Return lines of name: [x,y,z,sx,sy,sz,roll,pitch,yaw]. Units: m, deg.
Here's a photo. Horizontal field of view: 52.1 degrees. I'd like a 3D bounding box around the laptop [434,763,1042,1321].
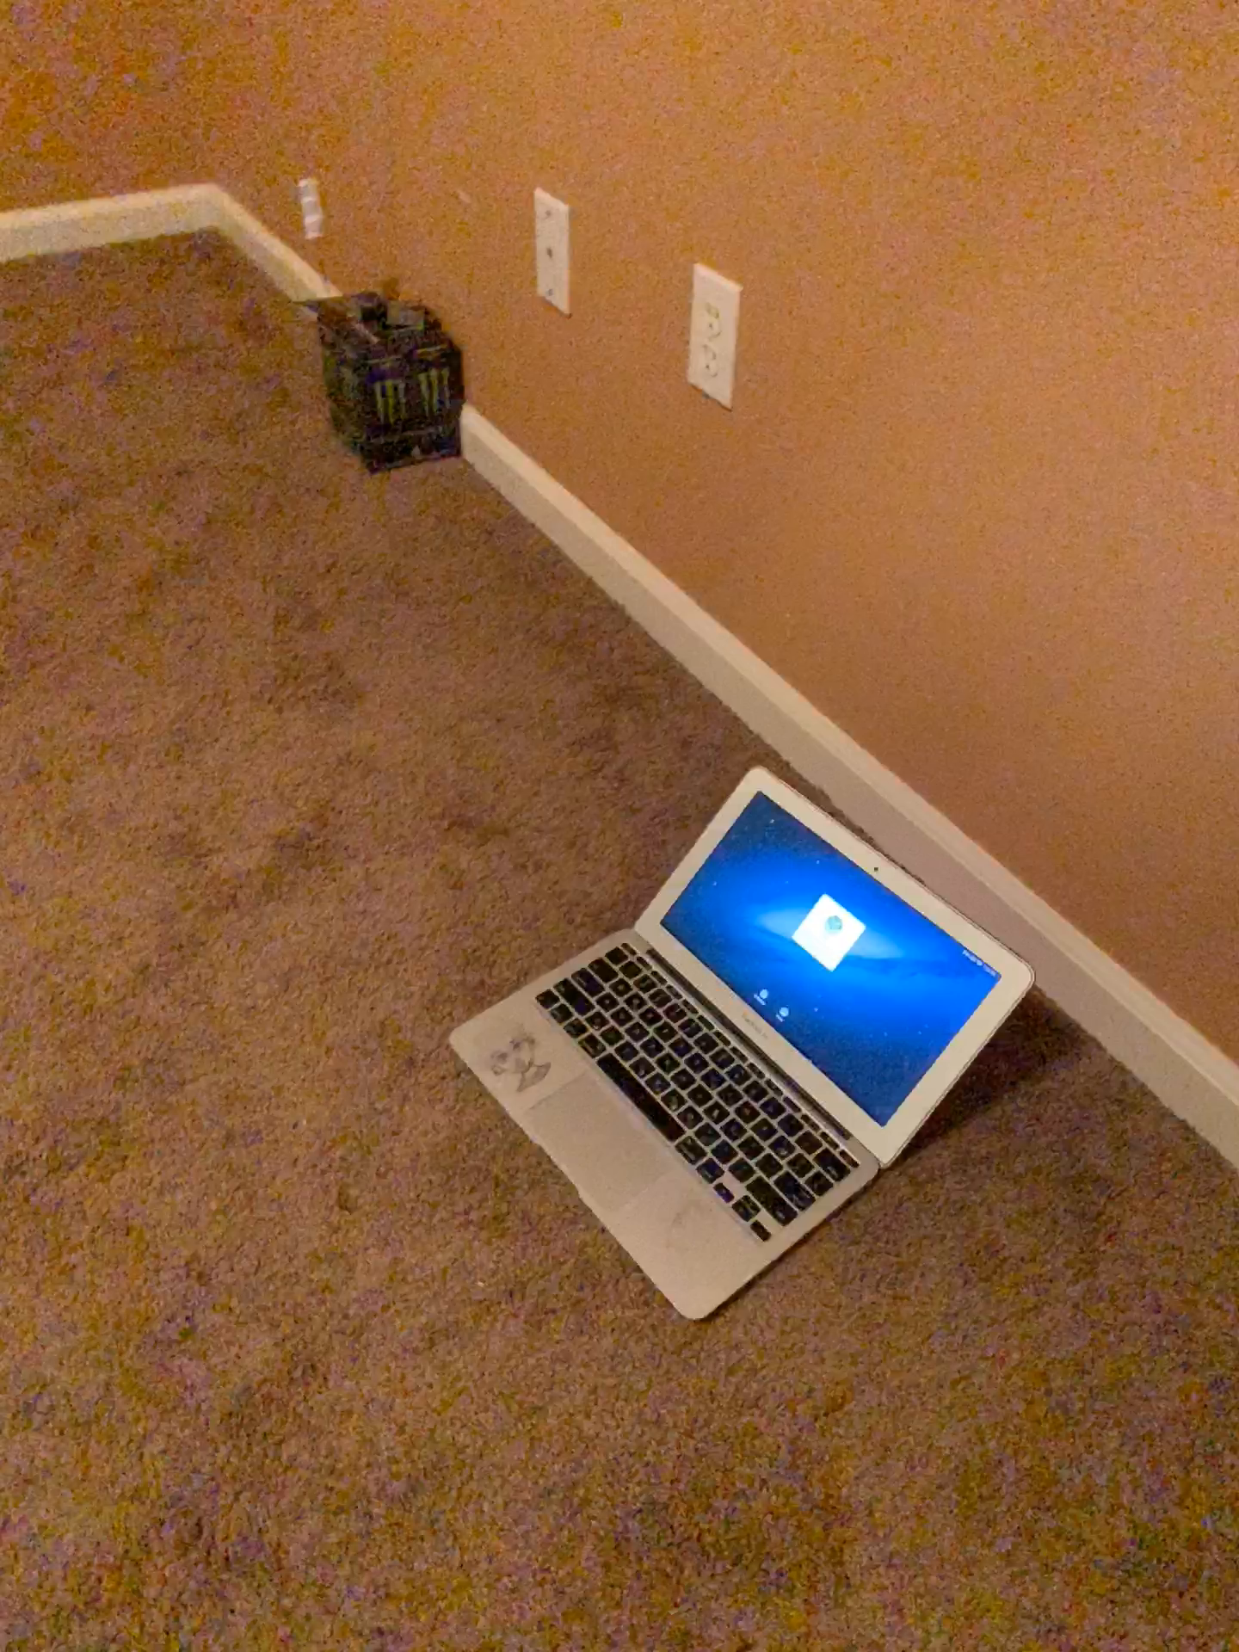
laptop: [0.083,0.137,0.961,0.325,0.116,0.299,-28,51,-28]
